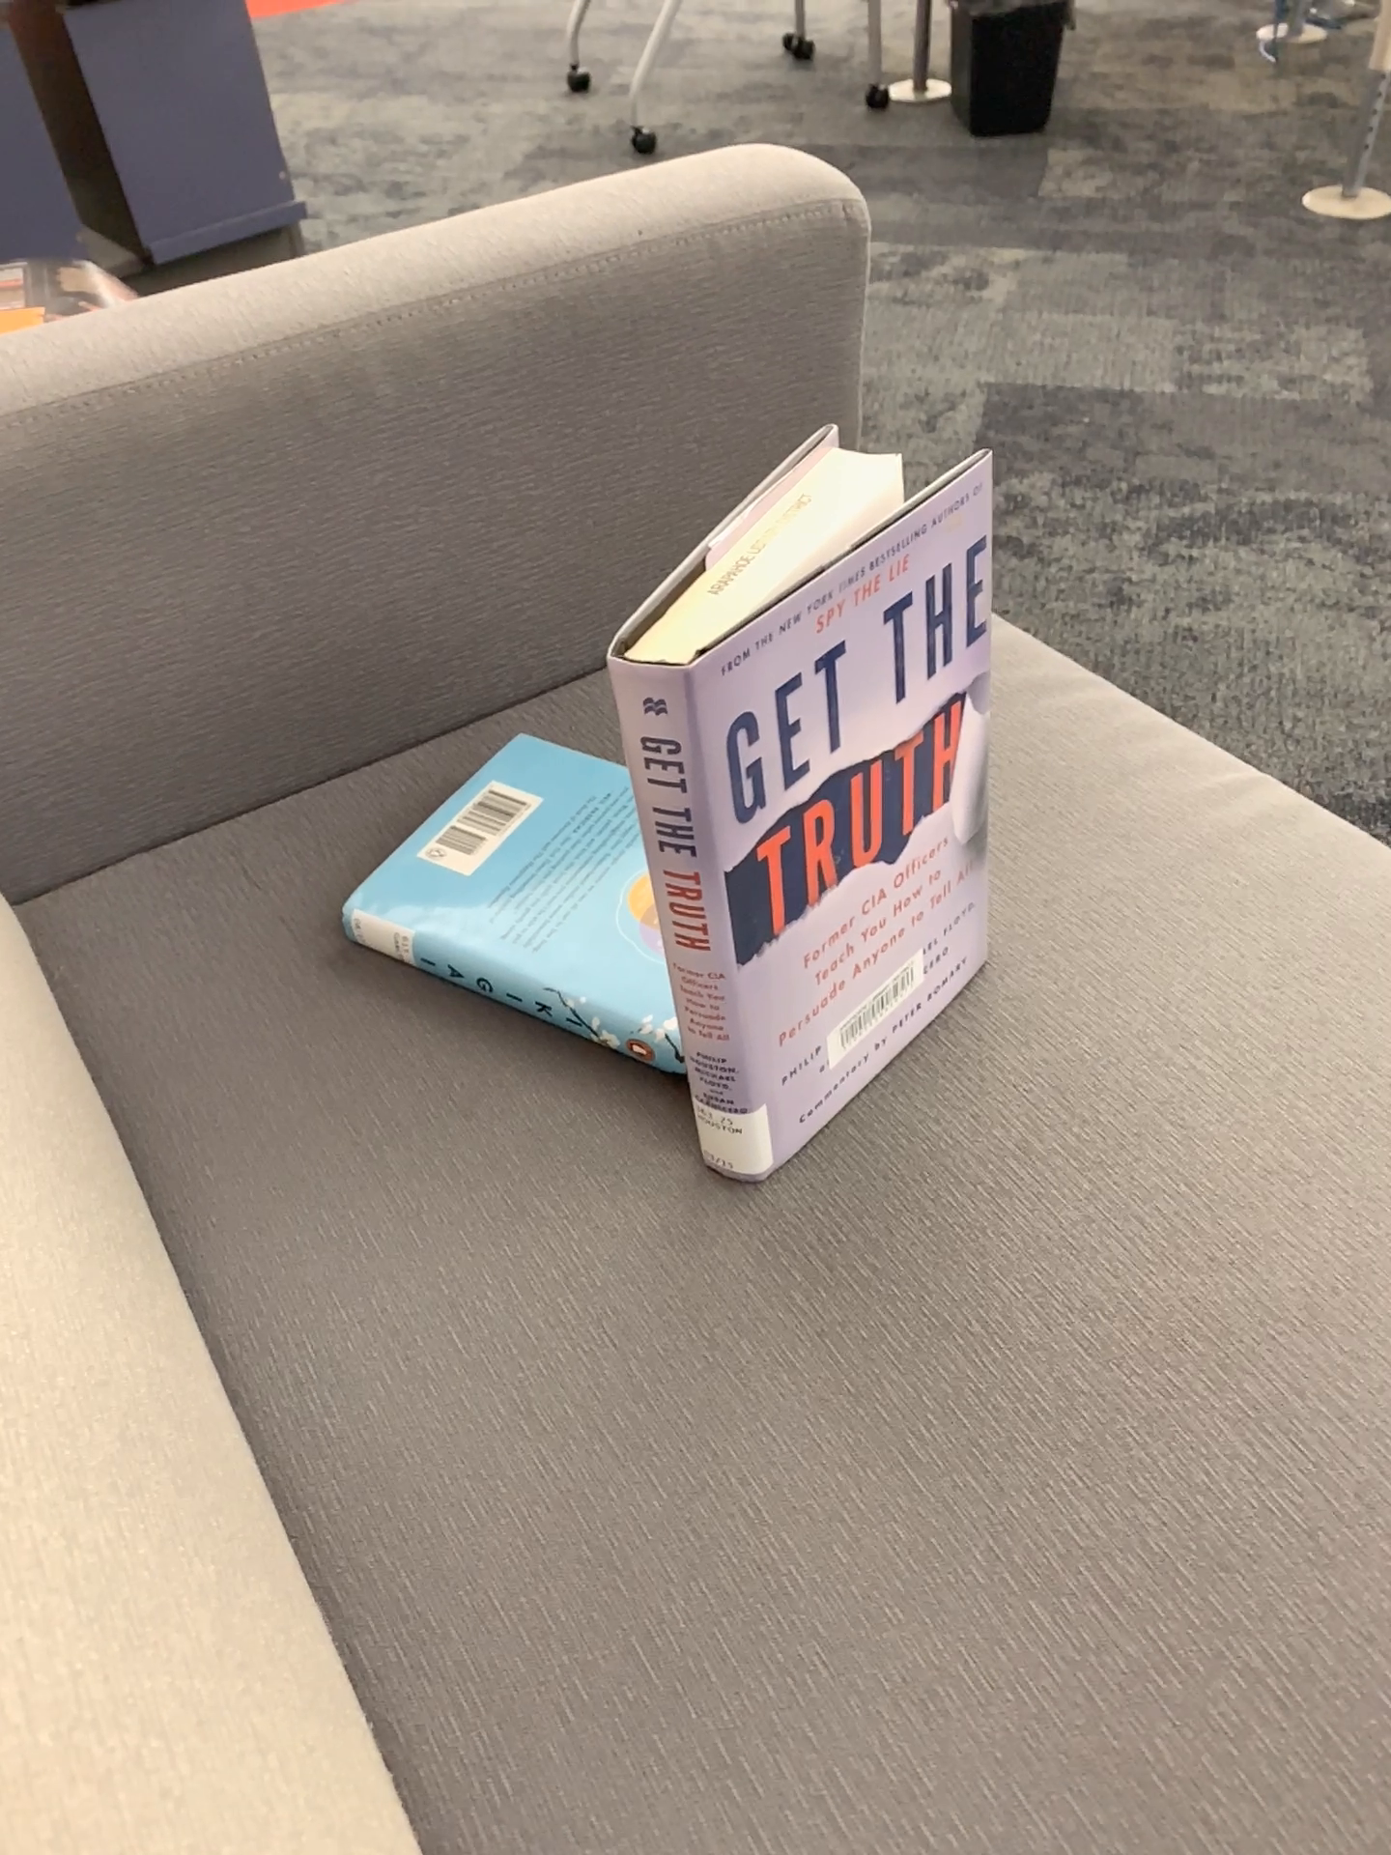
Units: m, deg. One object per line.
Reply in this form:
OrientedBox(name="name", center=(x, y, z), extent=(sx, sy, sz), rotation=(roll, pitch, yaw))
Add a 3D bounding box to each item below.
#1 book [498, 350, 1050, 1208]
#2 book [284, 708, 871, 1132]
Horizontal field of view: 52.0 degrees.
OrientedBox(name="book", center=(0.038, -0.045, 0.467), extent=(0.070, 0.219, 0.160), rotation=(25, 51, 32))
OrientedBox(name="book", center=(-0.048, -0.013, 0.604), extent=(0.200, 0.030, 0.140), rotation=(22, 50, 20))
